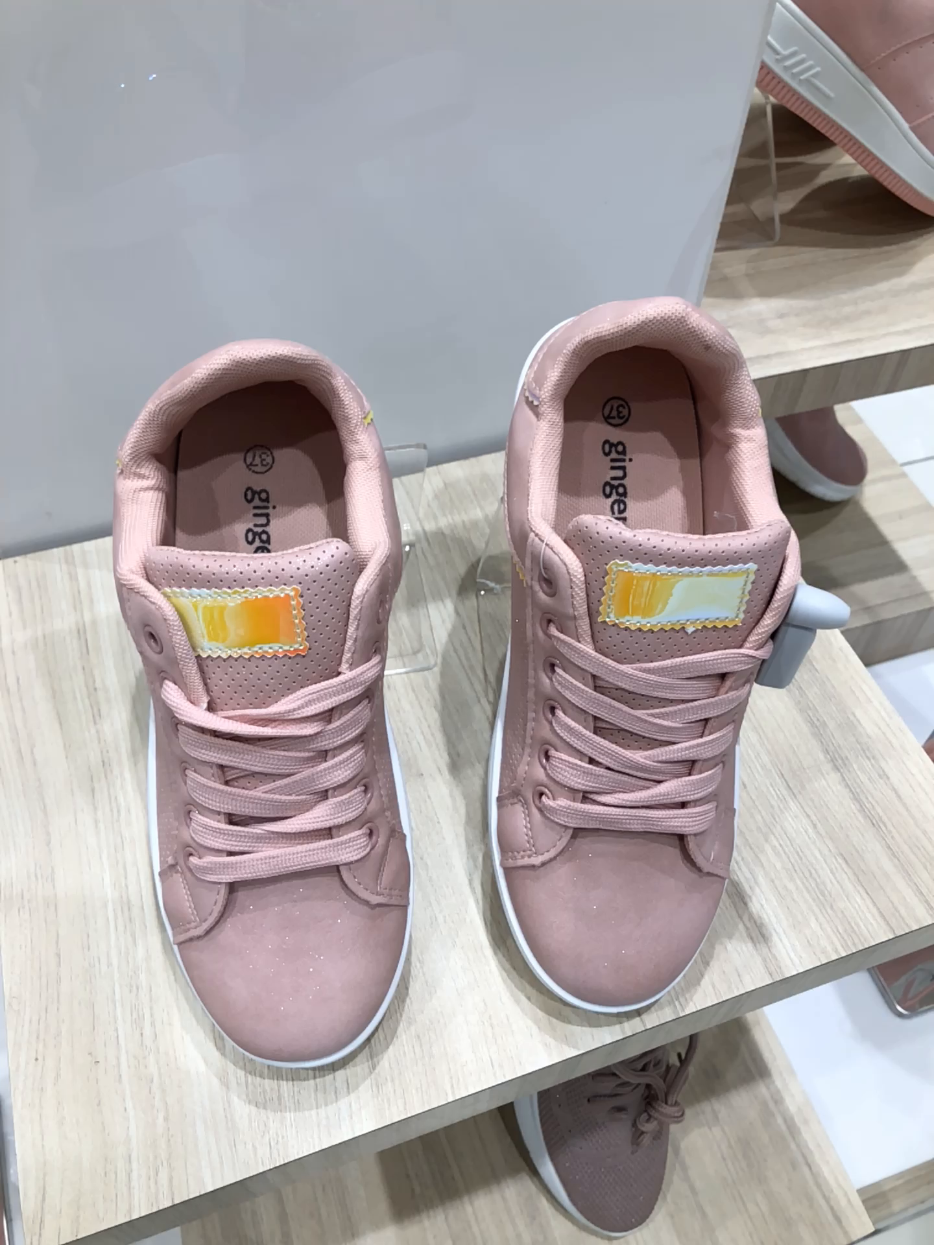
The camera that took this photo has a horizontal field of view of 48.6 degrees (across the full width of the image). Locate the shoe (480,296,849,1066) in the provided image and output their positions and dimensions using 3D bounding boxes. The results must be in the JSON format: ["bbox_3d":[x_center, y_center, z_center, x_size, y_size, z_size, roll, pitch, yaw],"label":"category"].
[{"bbox_3d":[0.061,0.018,0.382,0.100,0.250,0.100,2,9,-1],"label":"shoe"}]

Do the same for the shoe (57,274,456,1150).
[{"bbox_3d":[-0.066,0.026,0.364,0.100,0.100,0.260,-4,93,-4],"label":"shoe"}]
